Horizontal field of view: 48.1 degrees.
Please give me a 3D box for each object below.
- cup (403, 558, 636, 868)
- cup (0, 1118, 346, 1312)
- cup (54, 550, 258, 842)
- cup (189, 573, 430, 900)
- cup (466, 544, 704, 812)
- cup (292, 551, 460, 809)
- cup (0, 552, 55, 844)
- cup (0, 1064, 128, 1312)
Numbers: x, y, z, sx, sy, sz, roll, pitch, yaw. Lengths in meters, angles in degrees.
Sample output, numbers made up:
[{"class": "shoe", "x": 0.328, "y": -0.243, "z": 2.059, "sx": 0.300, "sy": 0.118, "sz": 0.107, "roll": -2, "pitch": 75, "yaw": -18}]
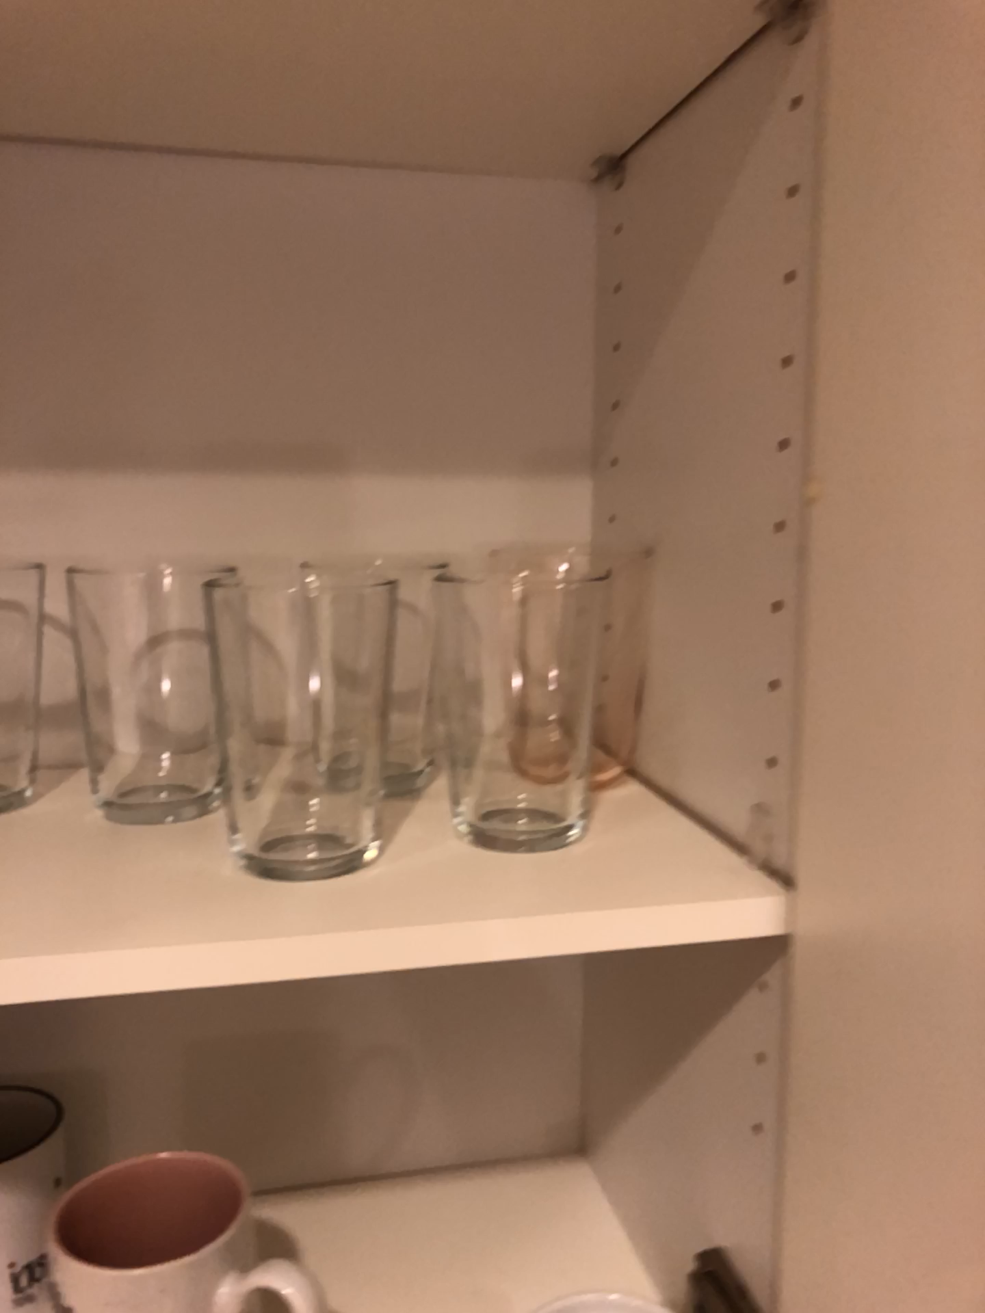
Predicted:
[{"class": "cup", "x": 0.009, "y": 0.019, "z": 0.486, "sx": 0.080, "sy": 0.120, "sz": 0.080, "roll": 0, "pitch": 7, "yaw": 0}, {"class": "cup", "x": -0.144, "y": 0.277, "z": 0.448, "sx": 0.140, "sy": 0.110, "sz": 0.090, "roll": 3, "pitch": 8, "yaw": 22}, {"class": "cup", "x": -0.157, "y": 0.012, "z": 0.518, "sx": 0.080, "sy": 0.120, "sz": 0.090, "roll": -2, "pitch": 7, "yaw": -18}, {"class": "cup", "x": -0.076, "y": 0.025, "z": 0.440, "sx": 0.080, "sy": 0.110, "sz": 0.090, "roll": -2, "pitch": 7, "yaw": -18}, {"class": "cup", "x": 0.043, "y": 0.005, "z": 0.565, "sx": 0.090, "sy": 0.120, "sz": 0.100, "roll": -2, "pitch": 7, "yaw": -16}, {"class": "cup", "x": -0.062, "y": 0.007, "z": 0.570, "sx": 0.070, "sy": 0.120, "sz": 0.080, "roll": -2, "pitch": 7, "yaw": -18}, {"class": "cup", "x": -0.269, "y": 0.015, "z": 0.556, "sx": 0.080, "sy": 0.130, "sz": 0.090, "roll": -2, "pitch": 7, "yaw": -18}, {"class": "cup", "x": -0.269, "y": 0.287, "z": 0.549, "sx": 0.090, "sy": 0.090, "sz": 0.140, "roll": 4, "pitch": 8, "yaw": 28}]
